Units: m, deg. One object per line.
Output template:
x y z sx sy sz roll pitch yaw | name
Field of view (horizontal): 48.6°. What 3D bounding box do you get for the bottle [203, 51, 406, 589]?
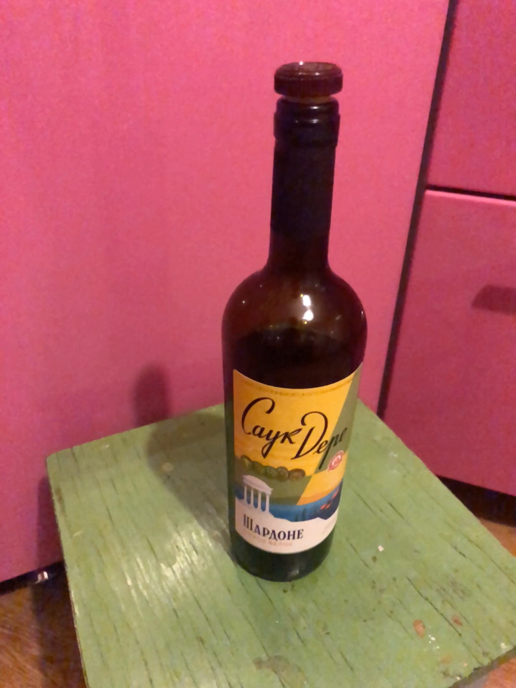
0.016 0.012 0.315 0.071 0.301 0.071 1 35 -1 | bottle
